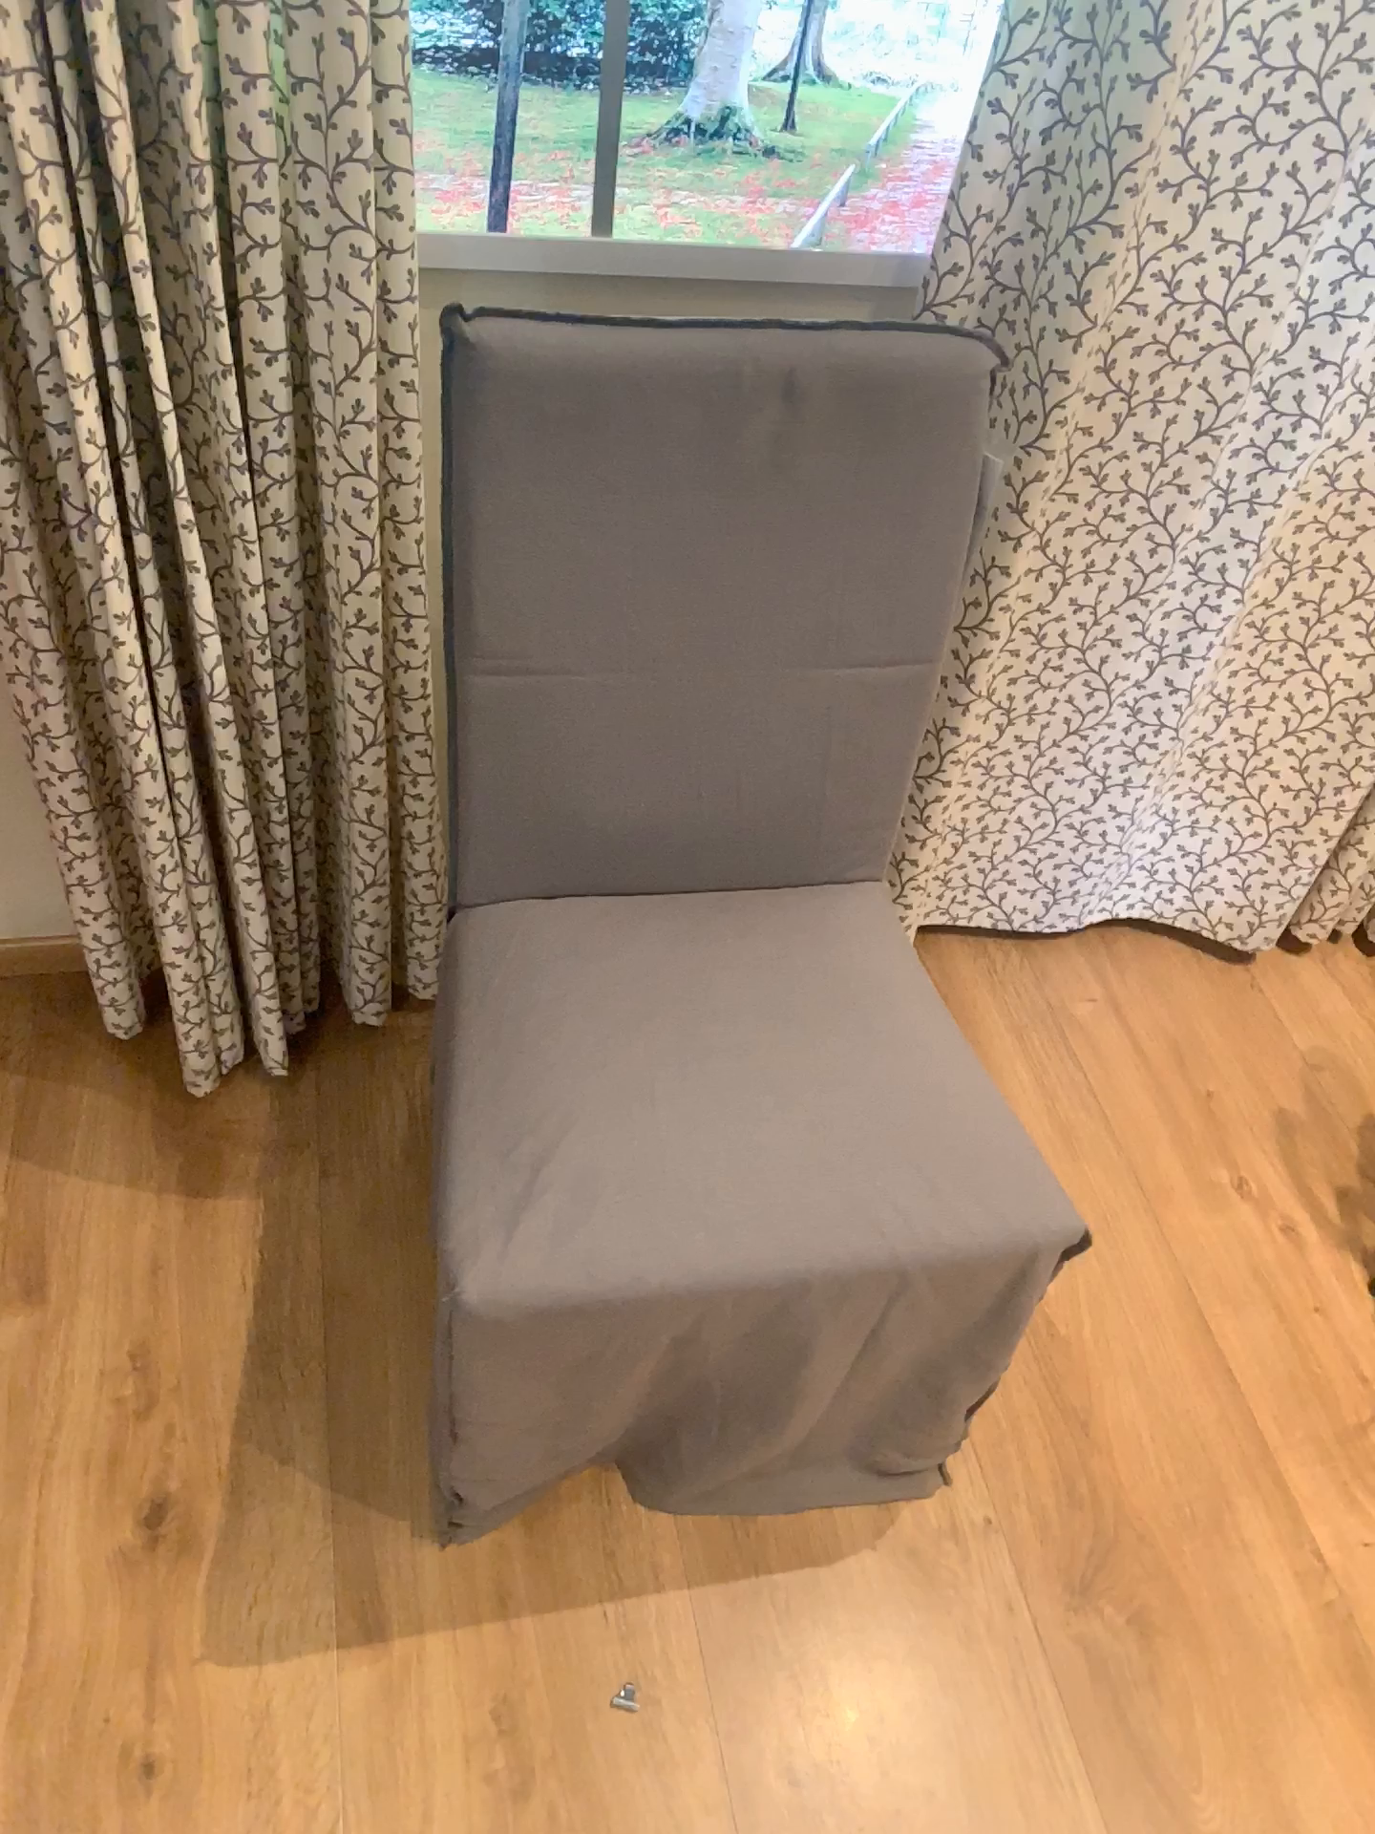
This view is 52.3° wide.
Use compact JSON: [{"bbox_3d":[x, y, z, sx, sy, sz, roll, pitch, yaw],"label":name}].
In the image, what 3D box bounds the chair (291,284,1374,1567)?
[{"bbox_3d":[-0.004,0.039,1.192,0.570,0.877,0.592,-4,46,-13],"label":"chair"}]
